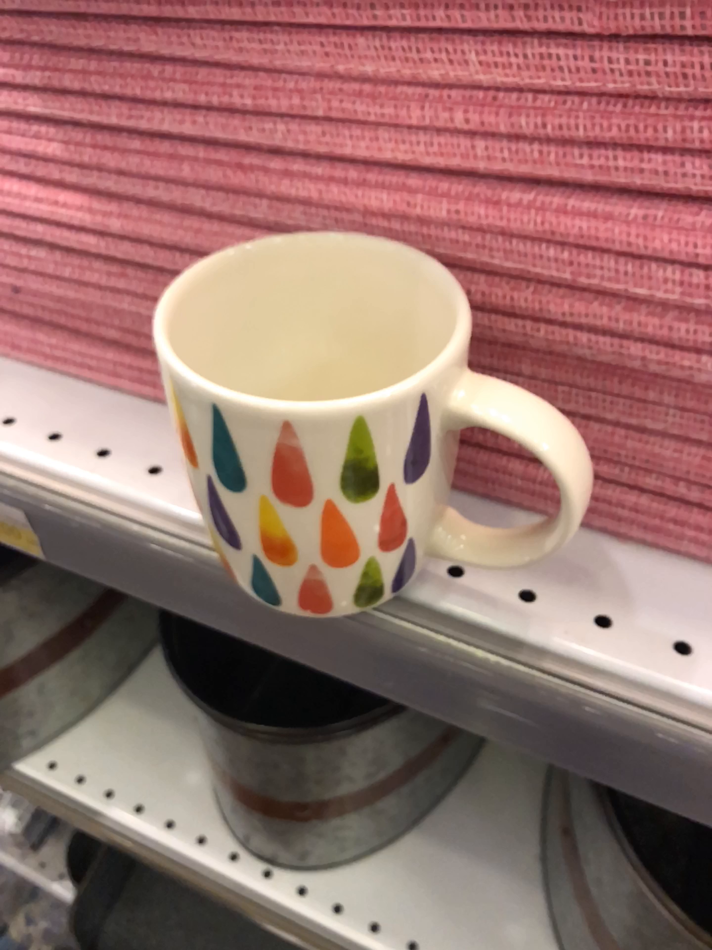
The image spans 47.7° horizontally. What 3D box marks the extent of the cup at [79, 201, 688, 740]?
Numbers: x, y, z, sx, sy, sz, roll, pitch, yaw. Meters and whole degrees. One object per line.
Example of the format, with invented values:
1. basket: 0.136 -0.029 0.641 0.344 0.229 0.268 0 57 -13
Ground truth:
1. cup: 0.011 -0.008 0.235 0.130 0.089 0.091 17 46 18
